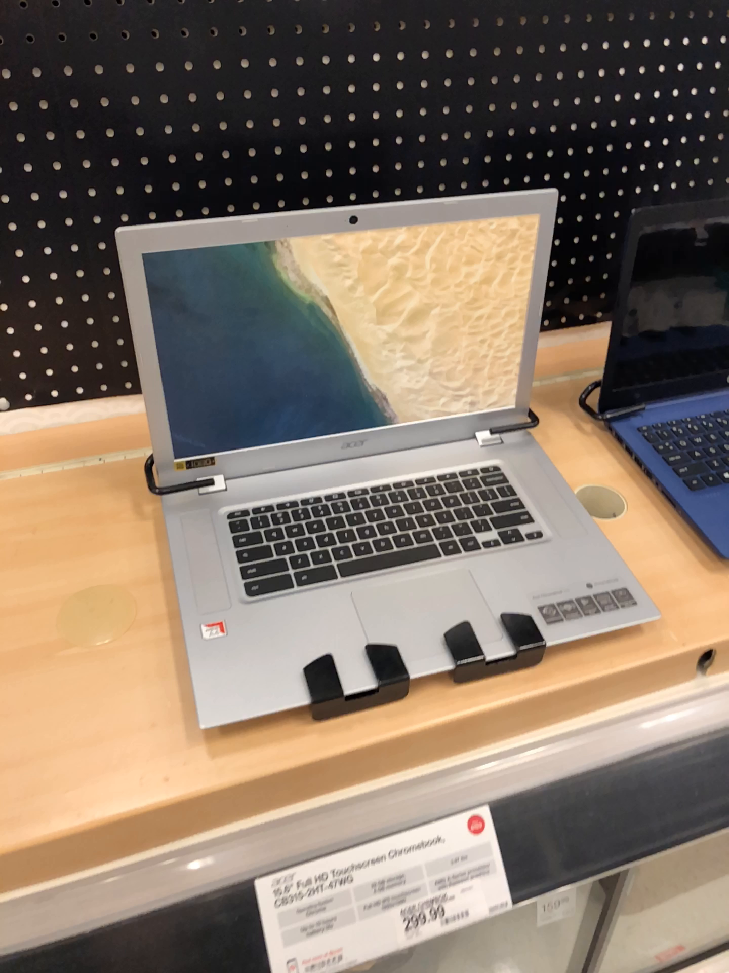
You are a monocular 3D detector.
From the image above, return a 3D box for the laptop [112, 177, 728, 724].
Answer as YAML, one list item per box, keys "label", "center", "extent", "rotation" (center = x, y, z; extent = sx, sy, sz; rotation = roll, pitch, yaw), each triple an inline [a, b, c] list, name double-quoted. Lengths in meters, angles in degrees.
- label: "laptop"
  center: [0.018, -0.056, 0.650]
  extent: [0.372, 0.246, 0.287]
  rotation: [-10, 39, -14]
